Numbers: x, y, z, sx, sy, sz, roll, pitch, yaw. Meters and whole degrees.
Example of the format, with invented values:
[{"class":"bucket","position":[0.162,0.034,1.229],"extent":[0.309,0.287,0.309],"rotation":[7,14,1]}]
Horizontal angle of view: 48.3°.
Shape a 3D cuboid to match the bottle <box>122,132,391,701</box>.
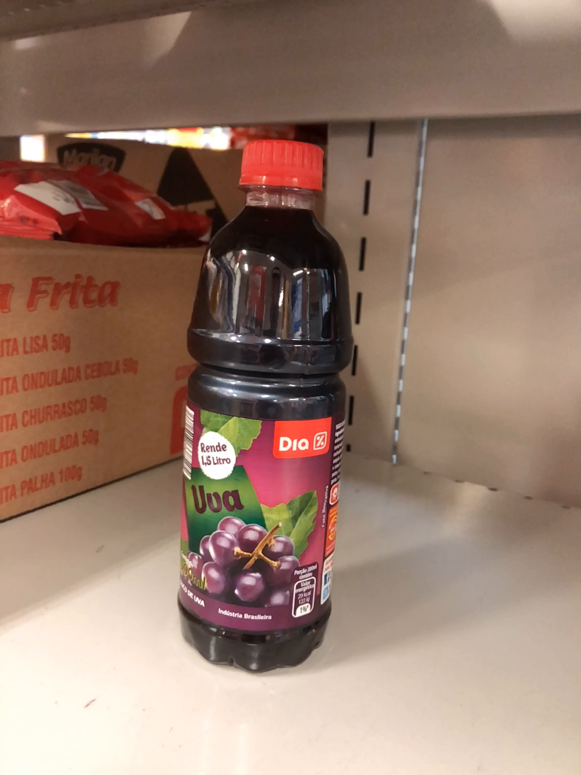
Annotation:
[{"class":"bottle","position":[-0.012,0.008,0.263],"extent":[0.080,0.199,0.070],"rotation":[6,14,17]}]
